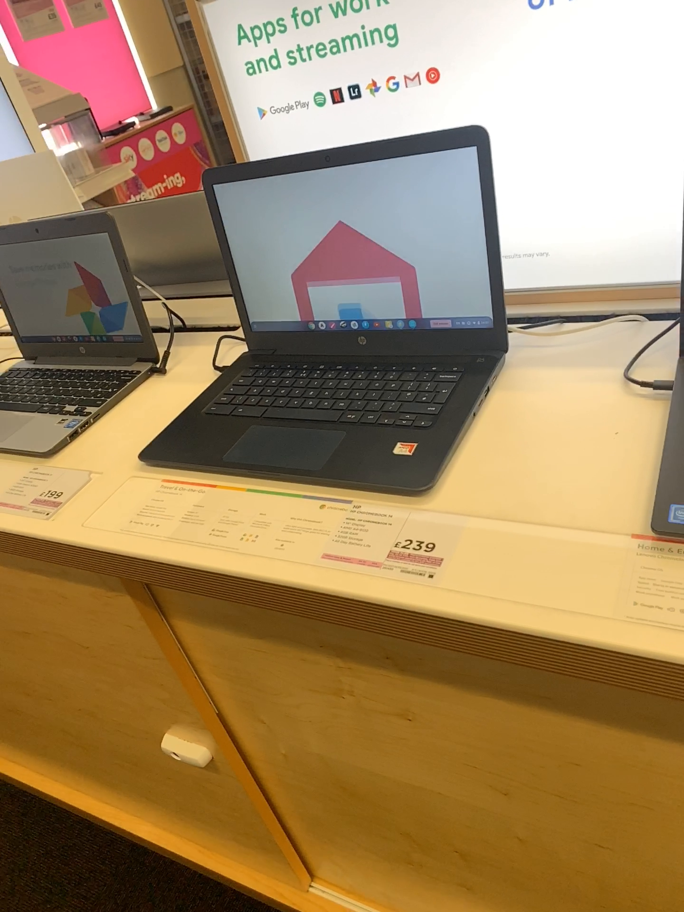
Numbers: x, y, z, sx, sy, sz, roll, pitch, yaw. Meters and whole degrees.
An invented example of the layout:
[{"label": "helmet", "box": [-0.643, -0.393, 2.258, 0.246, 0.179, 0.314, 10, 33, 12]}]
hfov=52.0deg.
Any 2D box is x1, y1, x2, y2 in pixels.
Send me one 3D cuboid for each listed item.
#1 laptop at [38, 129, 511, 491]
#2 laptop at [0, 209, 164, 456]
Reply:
[{"label": "laptop", "box": [-0.048, -0.142, 0.678, 0.332, 0.209, 0.246, 5, 40, 31]}, {"label": "laptop", "box": [-0.432, -0.162, 0.887, 0.271, 0.186, 0.243, 5, 40, 29]}]
